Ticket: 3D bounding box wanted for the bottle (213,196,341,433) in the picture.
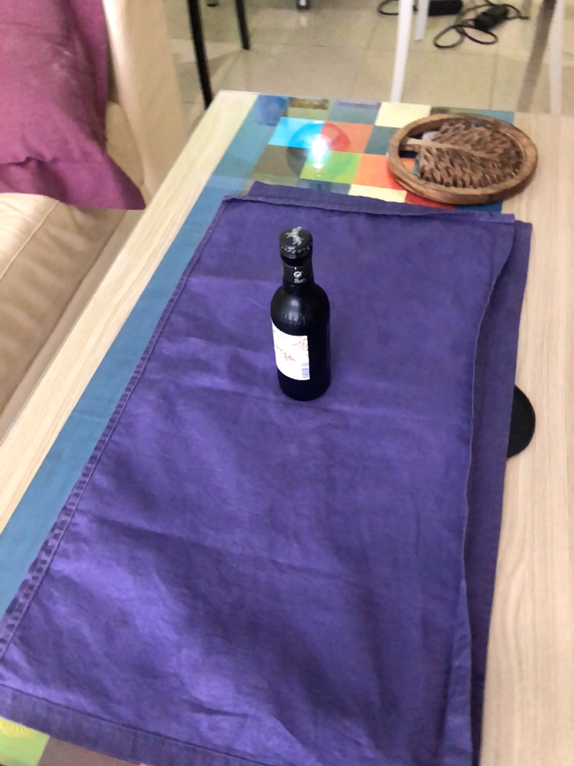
[{"bbox_3d":[-0.001,-0.052,0.561,0.070,0.199,0.070,-2,51,3],"label":"bottle"}]
